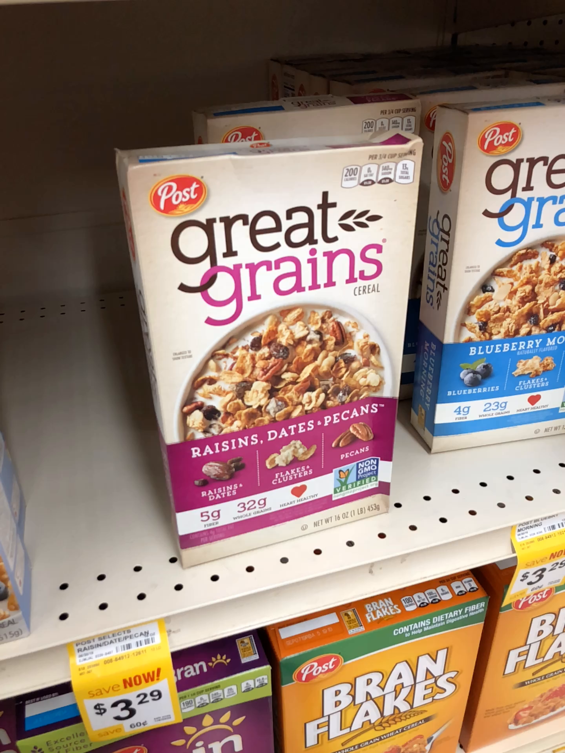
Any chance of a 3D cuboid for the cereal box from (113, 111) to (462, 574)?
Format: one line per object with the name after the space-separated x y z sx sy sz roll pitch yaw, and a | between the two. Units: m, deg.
0.005 -0.011 0.387 0.170 0.269 0.050 -11 34 -17 | cereal box
